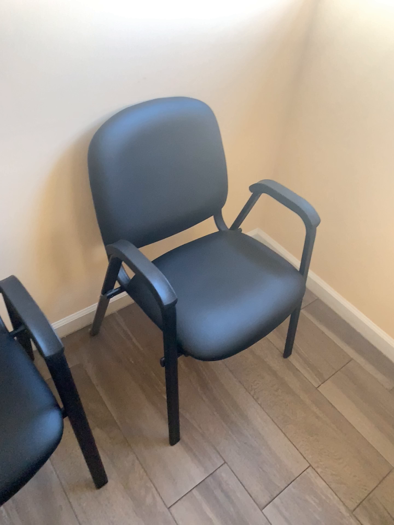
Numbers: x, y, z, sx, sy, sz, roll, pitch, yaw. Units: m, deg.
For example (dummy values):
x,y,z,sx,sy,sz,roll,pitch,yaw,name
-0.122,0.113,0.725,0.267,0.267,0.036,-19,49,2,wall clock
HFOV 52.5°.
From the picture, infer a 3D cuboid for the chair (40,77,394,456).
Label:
x,y,z,sx,sy,sz,roll,pitch,yaw,name
0.013,0.006,1.260,0.636,0.847,0.590,-27,54,-30,chair
